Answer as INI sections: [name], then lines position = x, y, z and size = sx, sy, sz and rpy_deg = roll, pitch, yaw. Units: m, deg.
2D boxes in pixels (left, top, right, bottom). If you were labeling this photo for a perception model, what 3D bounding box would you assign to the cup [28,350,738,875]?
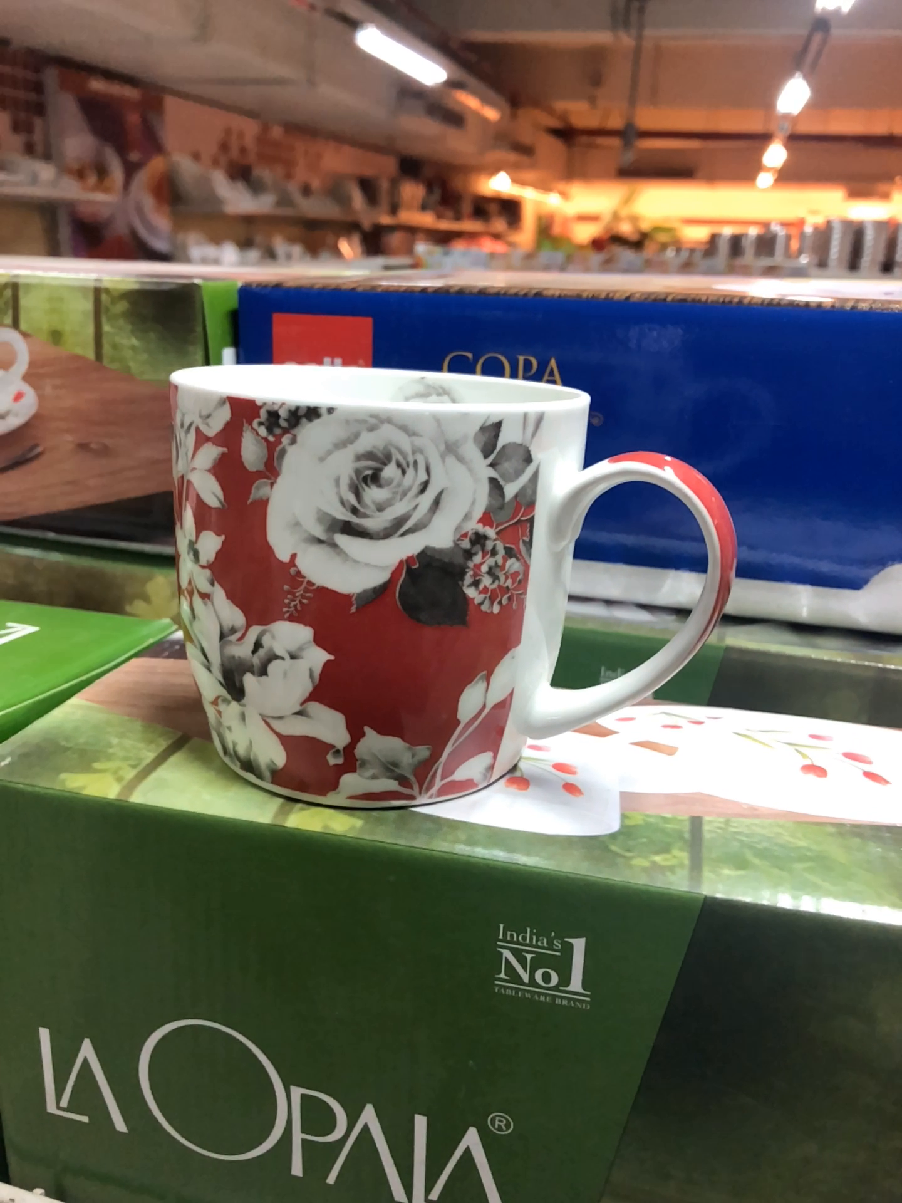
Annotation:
[cup]
position = -0.006, -0.010, 0.202
size = 0.110, 0.070, 0.090
rpy_deg = 8, 16, 16
